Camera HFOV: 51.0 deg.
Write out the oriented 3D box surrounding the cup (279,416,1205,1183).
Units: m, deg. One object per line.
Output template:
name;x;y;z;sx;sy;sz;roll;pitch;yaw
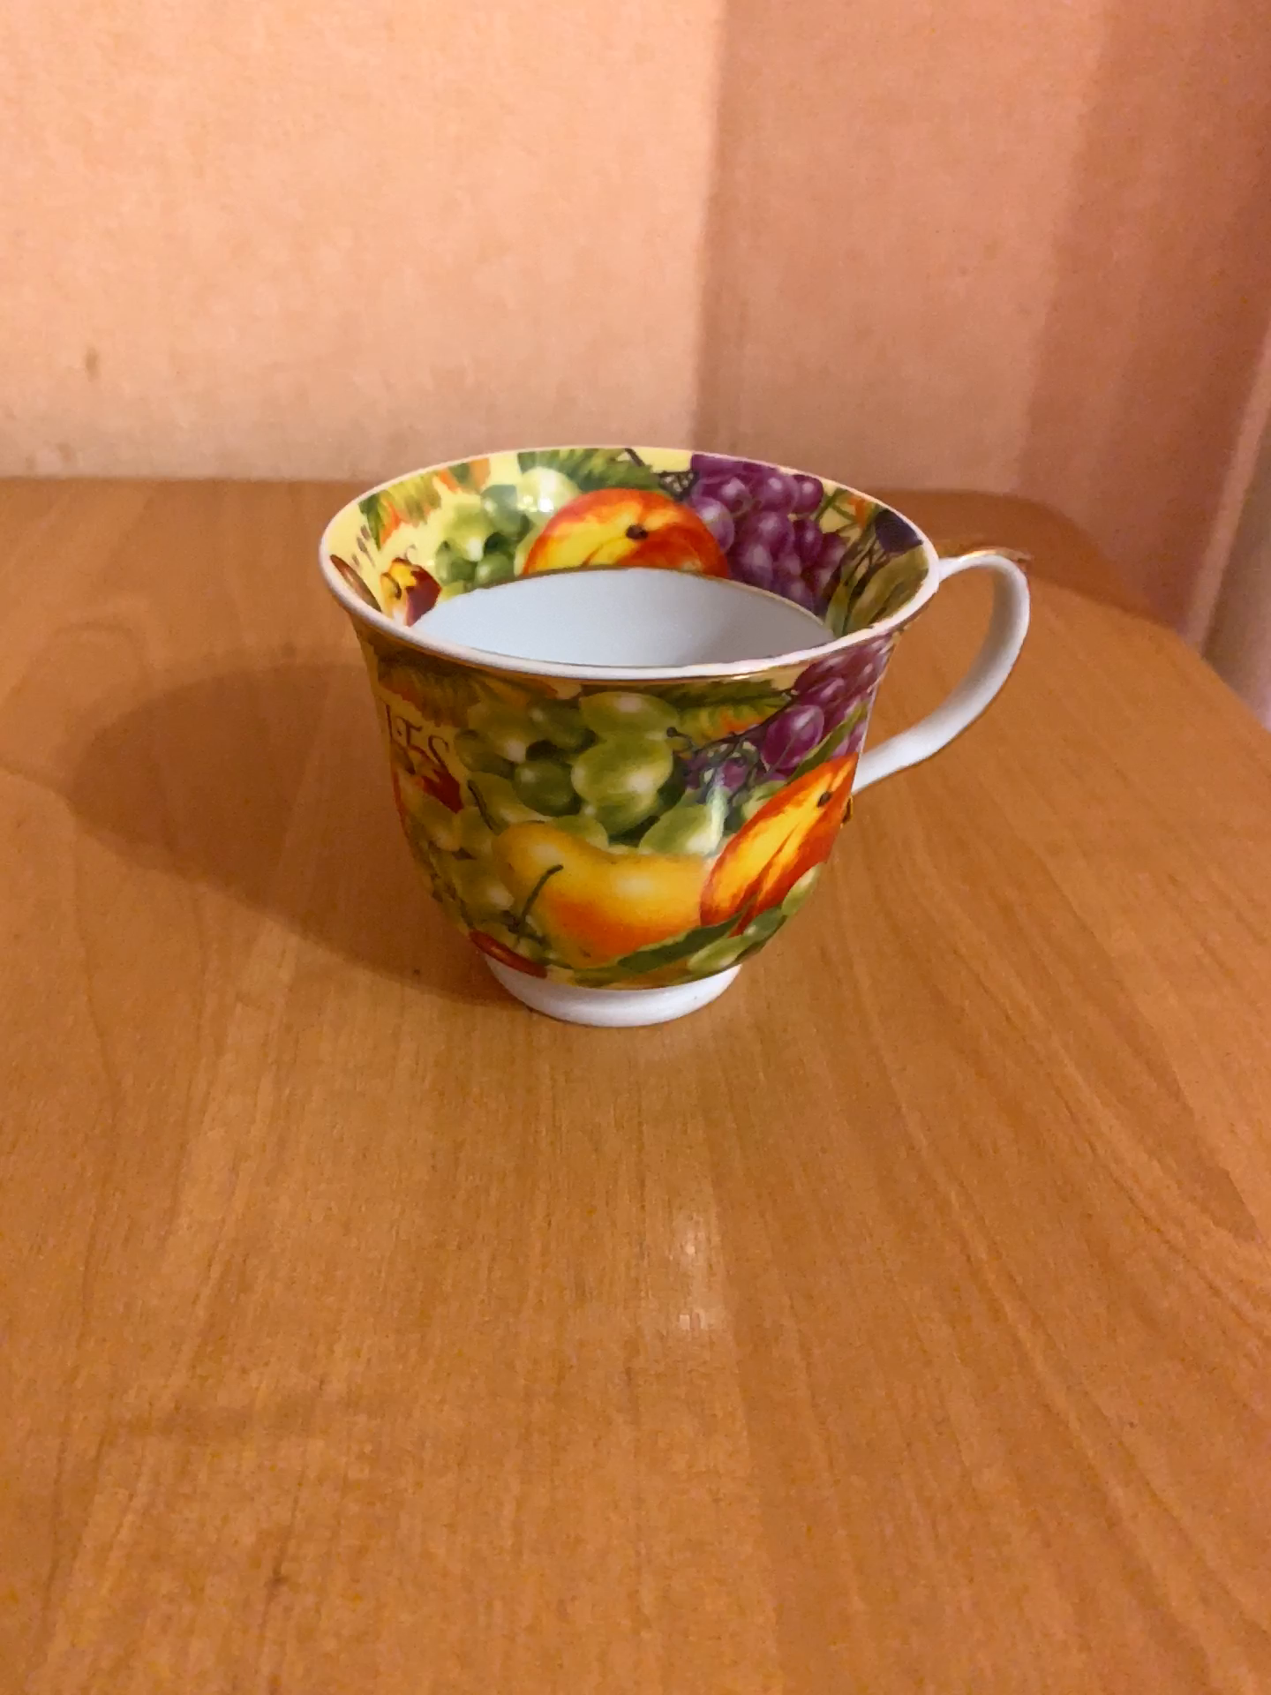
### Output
cup;0.009;-0.017;0.211;0.106;0.071;0.086;-12;35;-21
